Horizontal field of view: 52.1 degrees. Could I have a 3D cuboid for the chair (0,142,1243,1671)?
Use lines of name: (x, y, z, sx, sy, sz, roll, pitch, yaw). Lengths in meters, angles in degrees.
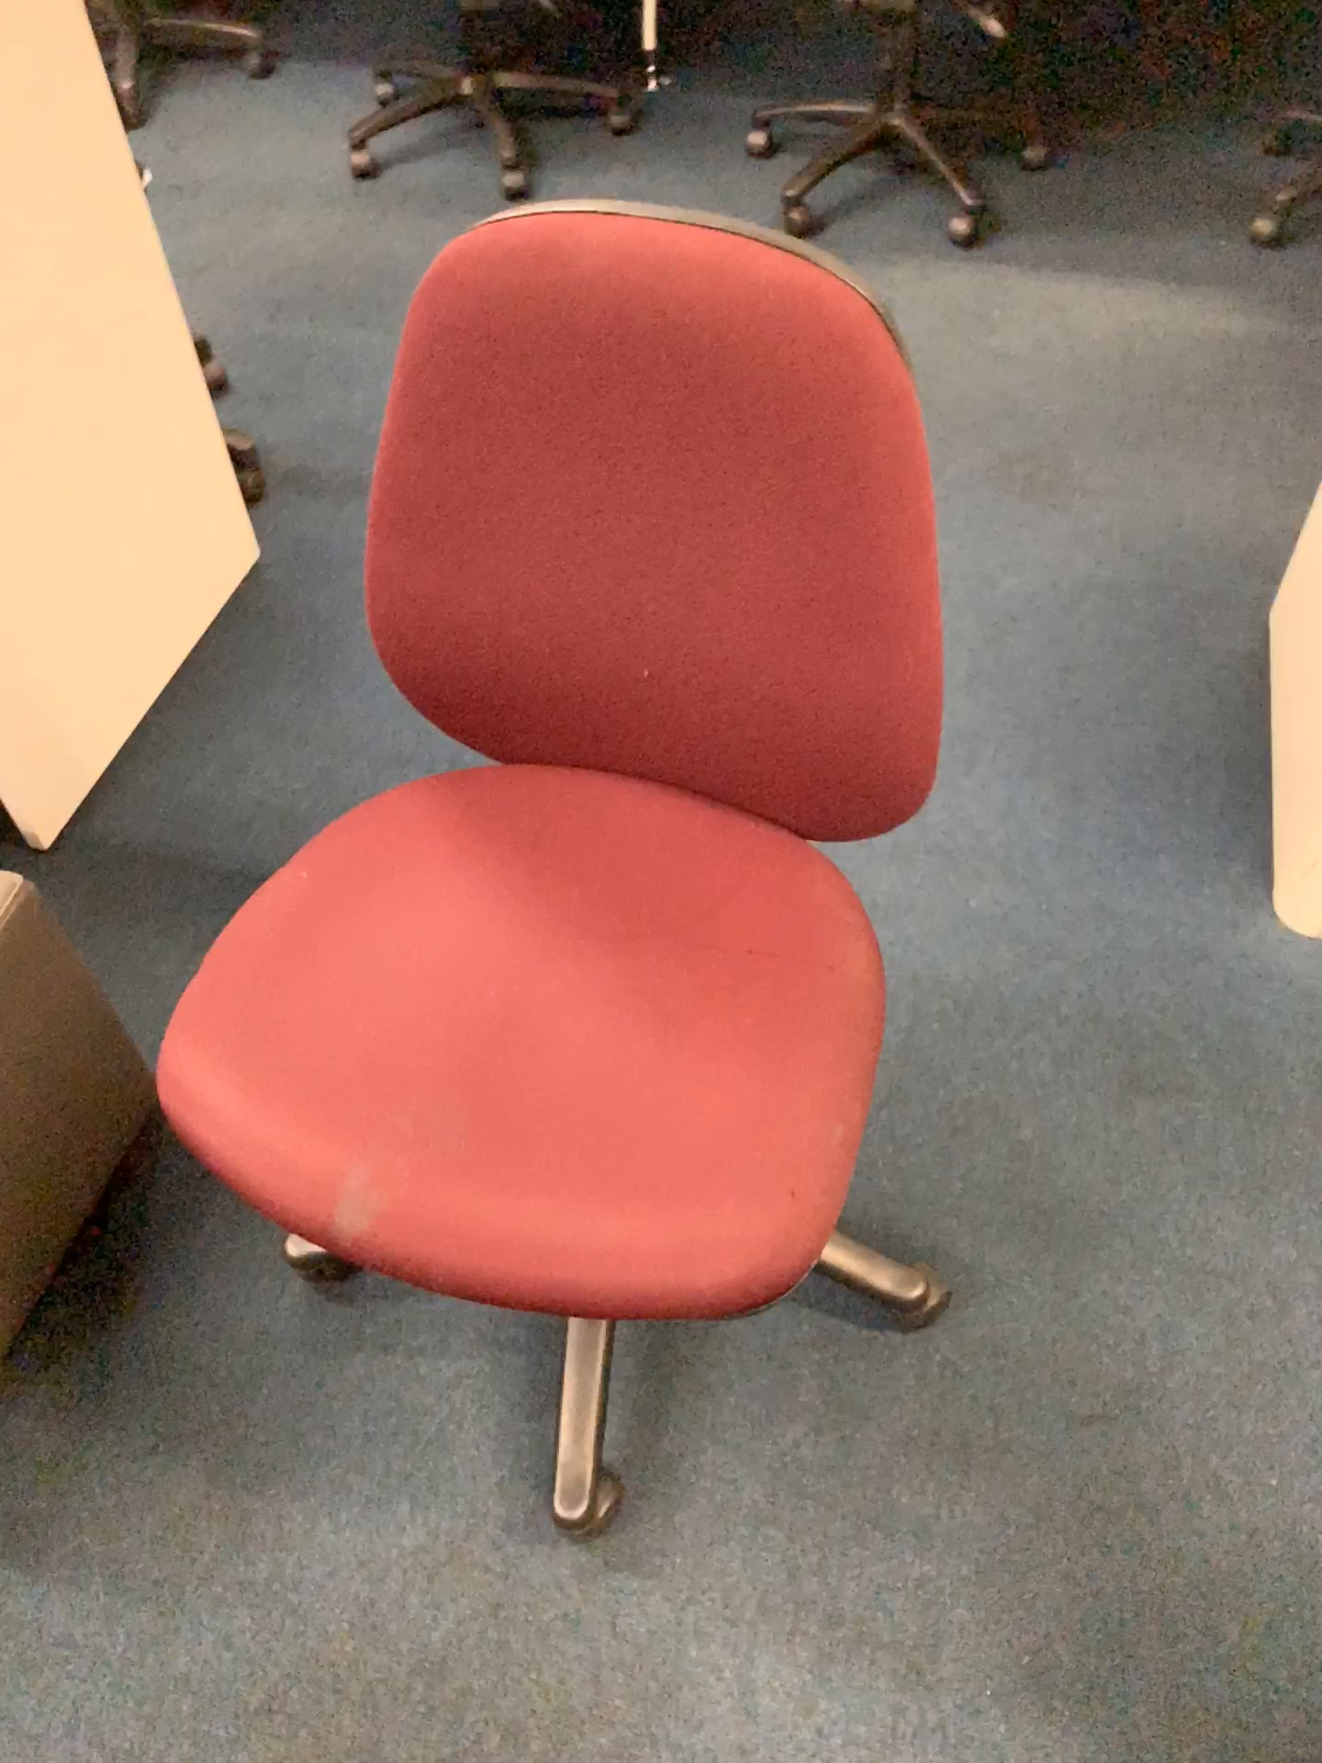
chair: (-0.045, 0.031, 1.031, 0.651, 0.783, 0.695, 15, 53, 15)
